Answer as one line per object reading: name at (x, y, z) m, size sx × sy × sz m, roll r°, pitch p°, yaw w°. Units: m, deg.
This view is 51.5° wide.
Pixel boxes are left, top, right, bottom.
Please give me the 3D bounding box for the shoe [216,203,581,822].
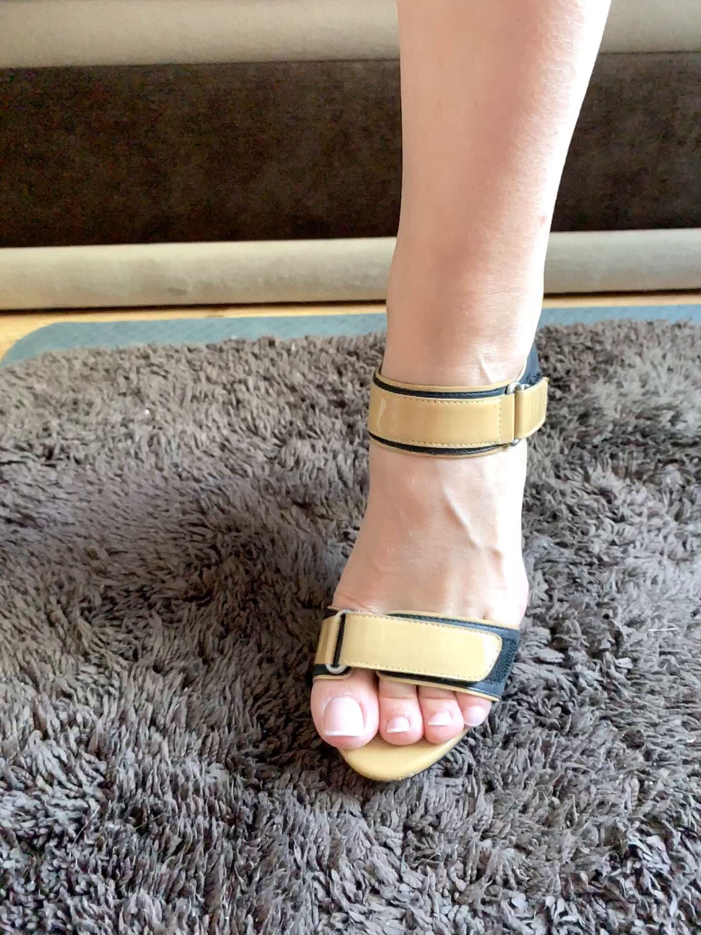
shoe at (0.030, 0.003, 0.301) m, size 0.090 × 0.149 × 0.201 m, roll 7°, pitch 40°, yaw 9°
